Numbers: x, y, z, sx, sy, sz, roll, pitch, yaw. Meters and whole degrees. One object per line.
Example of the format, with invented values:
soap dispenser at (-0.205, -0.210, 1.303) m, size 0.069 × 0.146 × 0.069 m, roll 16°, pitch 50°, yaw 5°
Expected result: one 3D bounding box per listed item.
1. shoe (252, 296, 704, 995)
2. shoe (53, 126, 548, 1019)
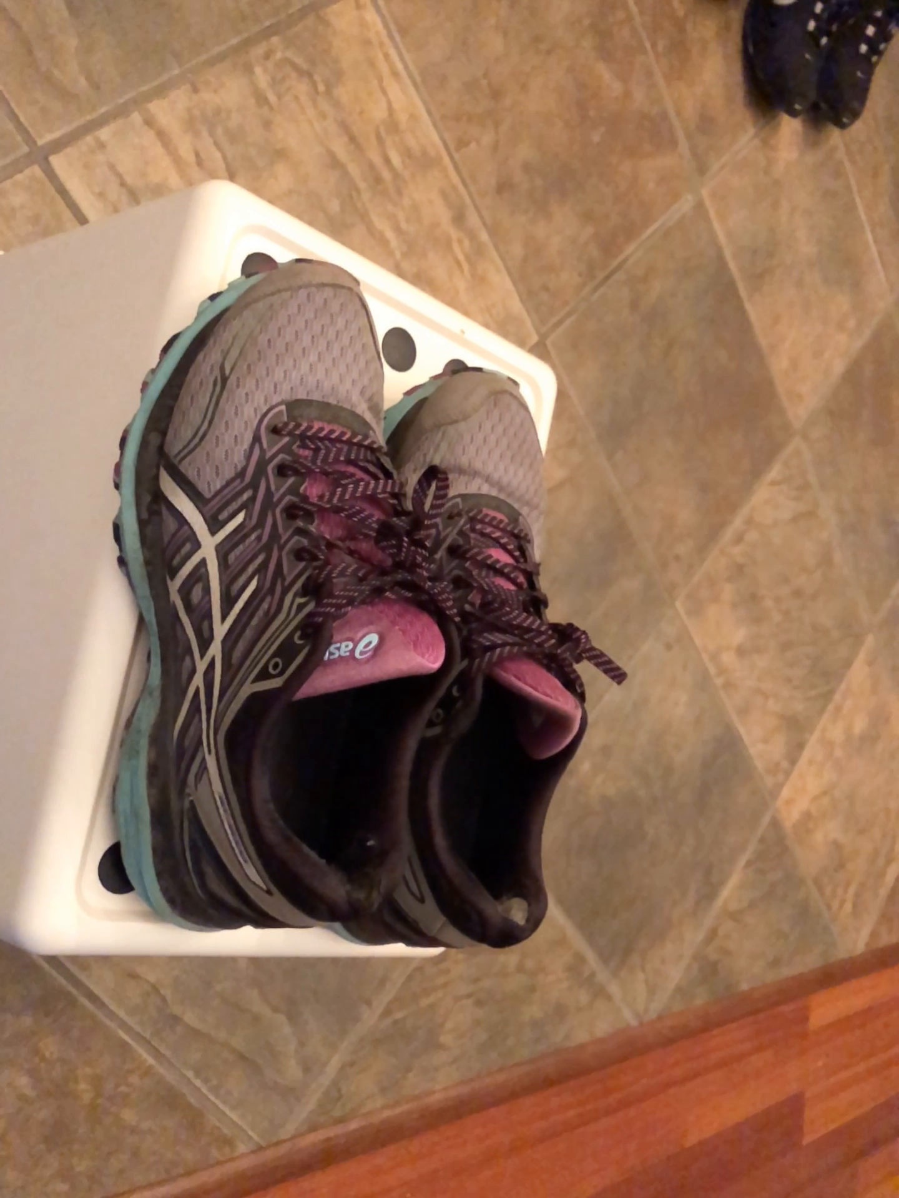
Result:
shoe at (0.014, 0.022, 0.443) m, size 0.110 × 0.119 × 0.260 m, roll 15°, pitch 81°, yaw -40°
shoe at (-0.056, -0.006, 0.367) m, size 0.110 × 0.119 × 0.260 m, roll 8°, pitch 86°, yaw -41°
